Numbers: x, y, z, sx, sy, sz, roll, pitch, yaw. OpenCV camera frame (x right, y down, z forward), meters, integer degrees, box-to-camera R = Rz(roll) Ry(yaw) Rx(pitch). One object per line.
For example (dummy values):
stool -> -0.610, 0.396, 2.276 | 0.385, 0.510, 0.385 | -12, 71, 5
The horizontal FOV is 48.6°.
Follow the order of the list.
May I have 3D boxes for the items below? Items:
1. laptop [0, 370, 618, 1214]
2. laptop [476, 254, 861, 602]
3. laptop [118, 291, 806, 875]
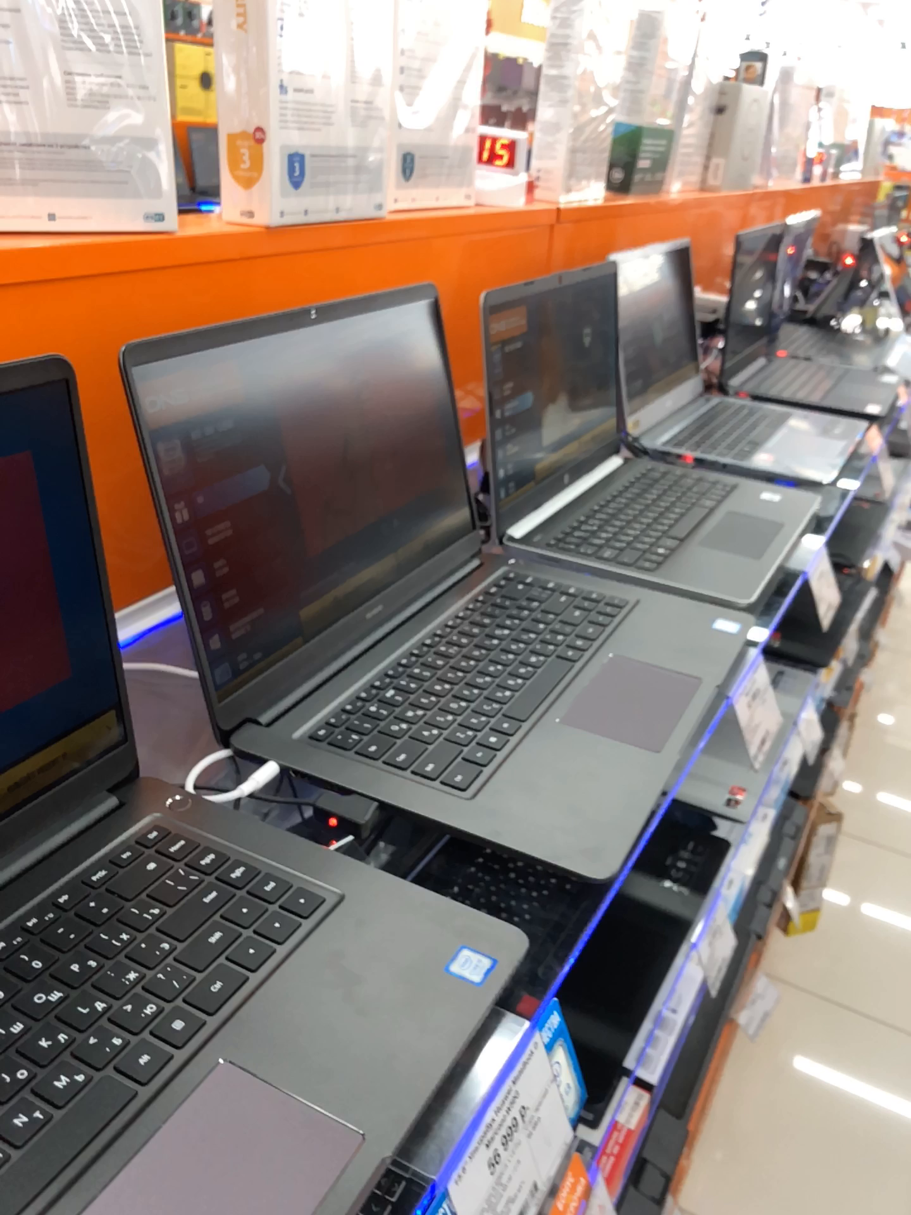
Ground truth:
laptop -> -0.150, 0.081, 0.310 | 0.241, 0.230, 0.357 | 14, 27, 22
laptop -> 0.197, -0.185, 0.929 | 0.243, 0.195, 0.270 | 18, 32, 26
laptop -> 0.026, -0.058, 0.644 | 0.287, 0.212, 0.340 | 15, 27, 22
